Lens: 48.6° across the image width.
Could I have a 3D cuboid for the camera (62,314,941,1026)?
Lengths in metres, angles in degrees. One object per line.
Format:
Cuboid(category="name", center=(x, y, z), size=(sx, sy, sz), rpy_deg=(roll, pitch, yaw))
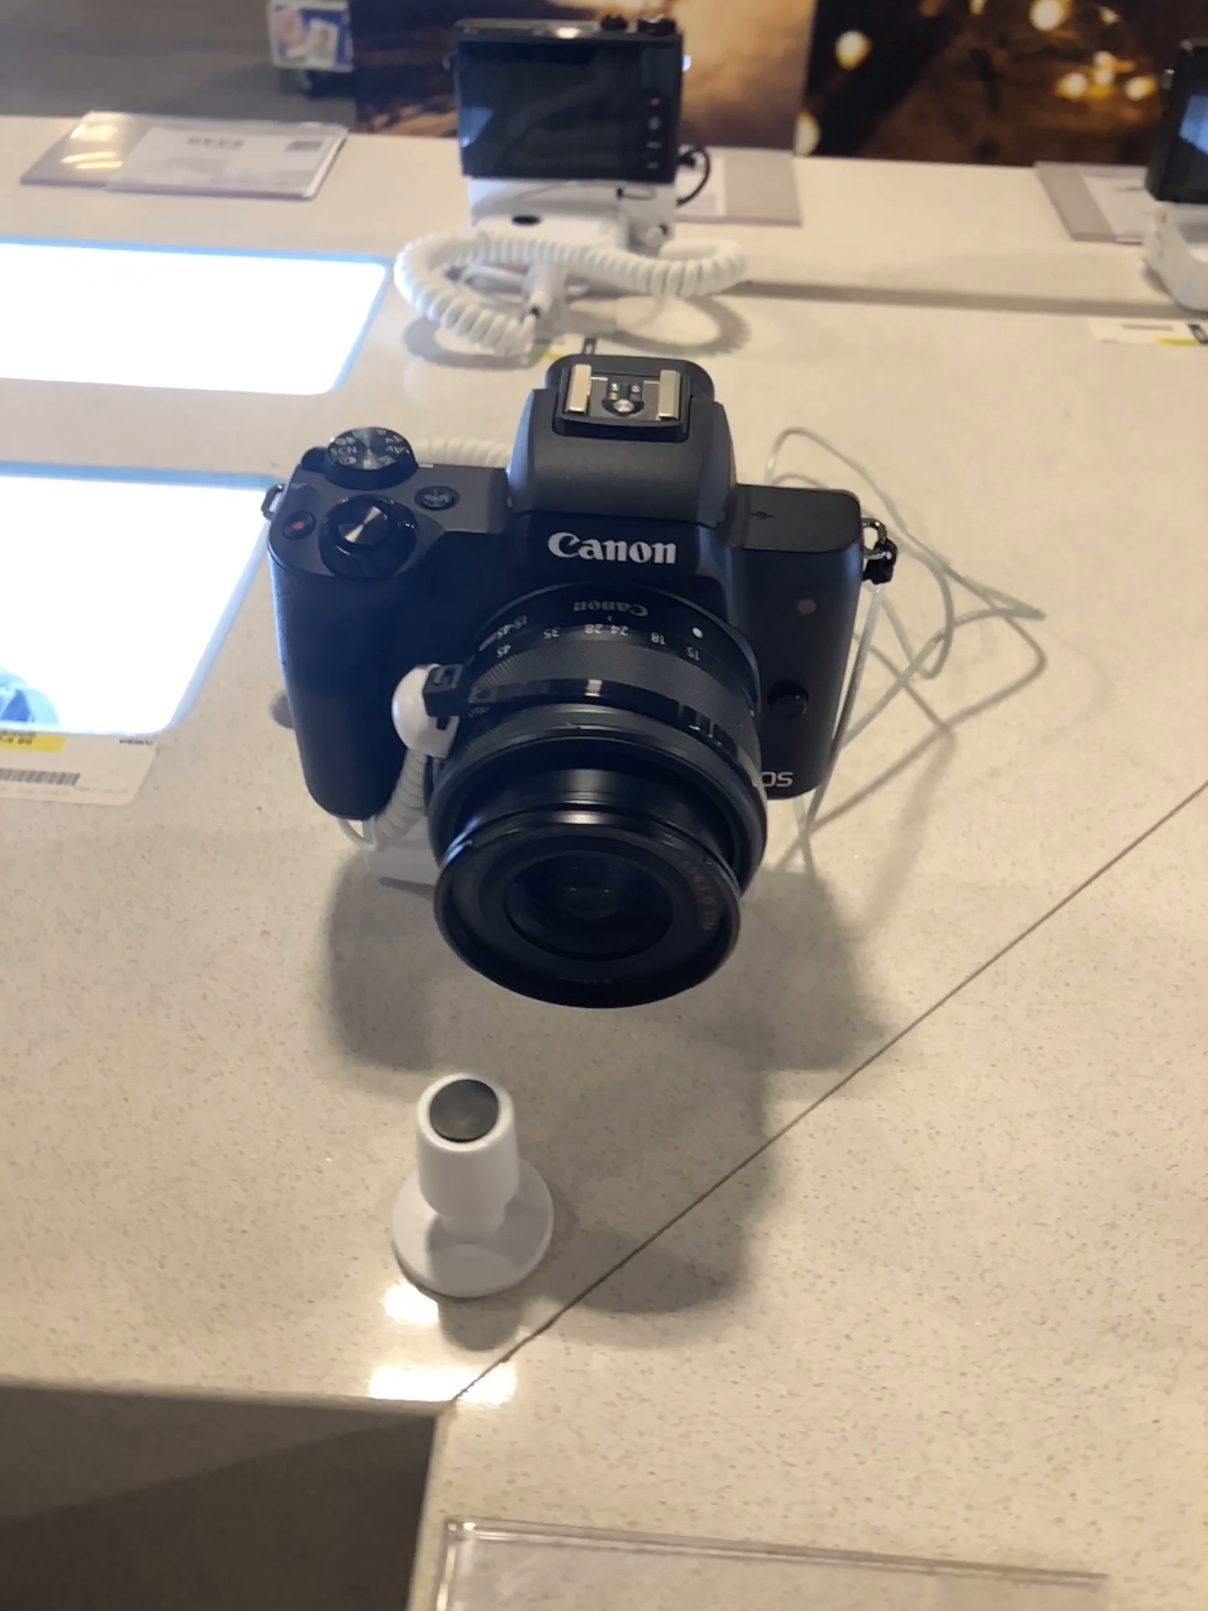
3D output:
Cuboid(category="camera", center=(-0.013, -0.033, 0.269), size=(0.130, 0.079, 0.121), rpy_deg=(3, 42, 2))
